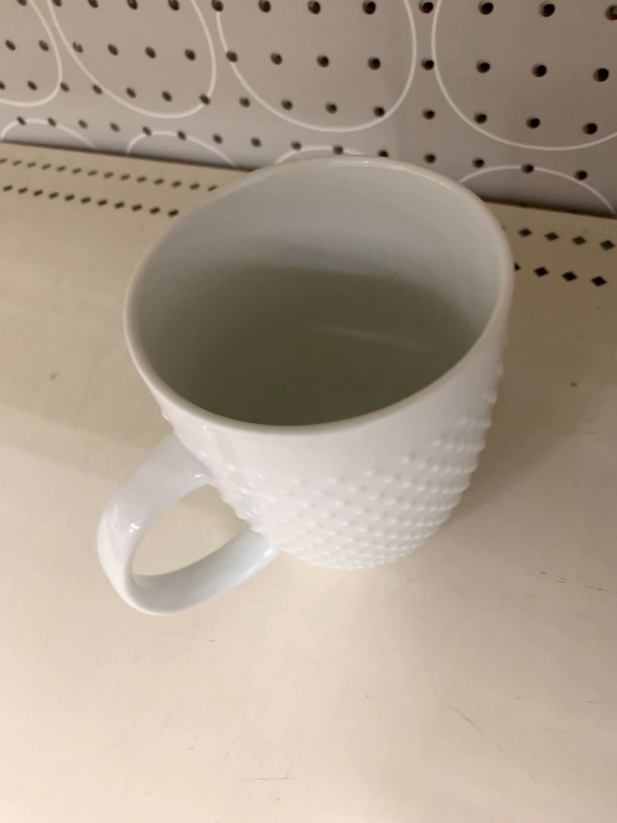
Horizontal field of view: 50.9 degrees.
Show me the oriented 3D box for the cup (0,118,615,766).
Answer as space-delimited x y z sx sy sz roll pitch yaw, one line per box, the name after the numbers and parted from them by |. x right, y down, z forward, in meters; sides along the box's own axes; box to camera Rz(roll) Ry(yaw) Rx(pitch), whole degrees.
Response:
-0.001 0.010 0.196 0.137 0.105 0.094 -42 59 -17 | cup
